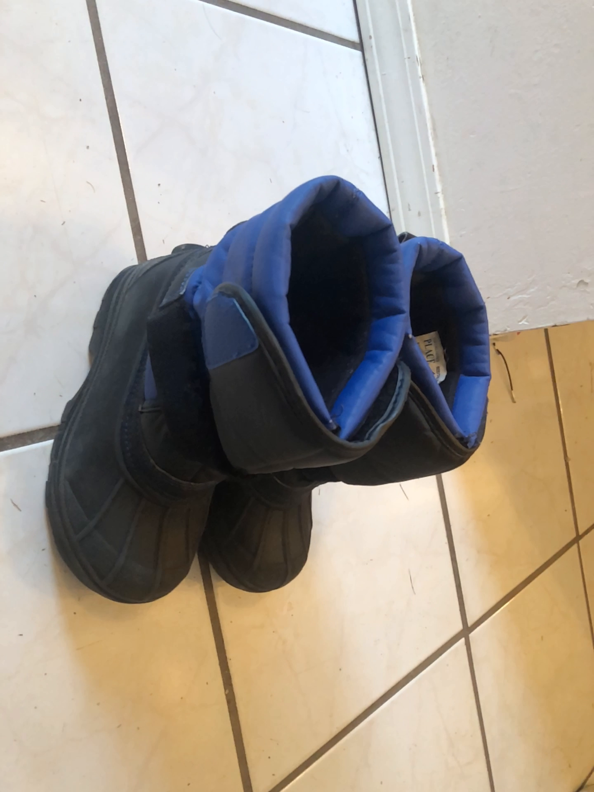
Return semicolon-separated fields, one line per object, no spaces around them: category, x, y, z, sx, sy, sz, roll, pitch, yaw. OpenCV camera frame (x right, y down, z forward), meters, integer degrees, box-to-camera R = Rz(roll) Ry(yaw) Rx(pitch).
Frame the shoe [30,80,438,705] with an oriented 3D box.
shoe;-0.040;0.005;0.343;0.100;0.199;0.230;10;79;-44

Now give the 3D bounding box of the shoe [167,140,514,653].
shoe;0.018;0.007;0.421;0.100;0.199;0.250;7;80;-44
